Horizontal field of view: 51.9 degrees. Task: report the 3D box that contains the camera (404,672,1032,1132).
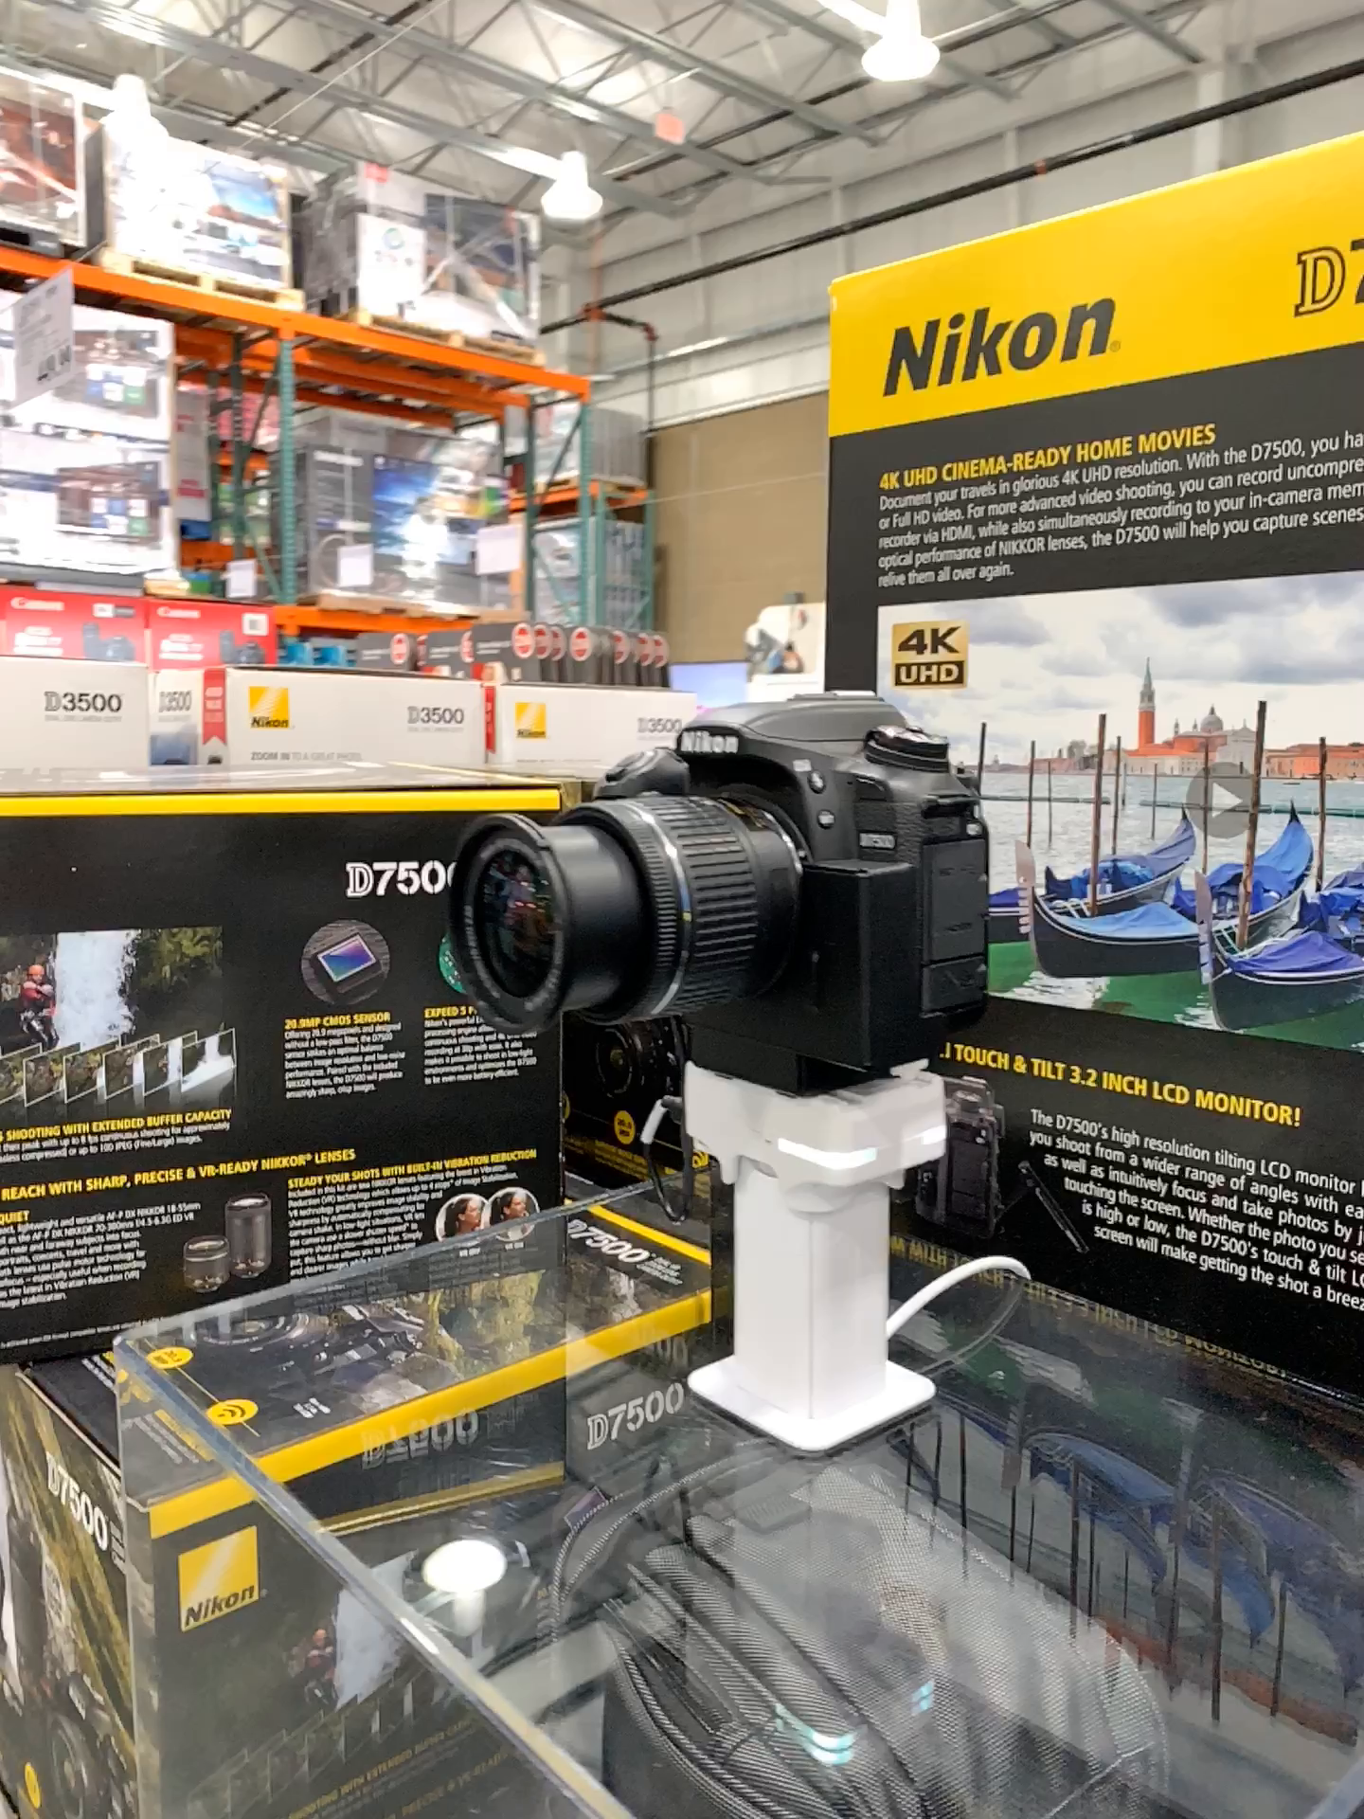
[{"bbox_3d":[0.004,-0.013,0.428,0.110,0.110,0.160,-5,9,-41],"label":"camera"}]
